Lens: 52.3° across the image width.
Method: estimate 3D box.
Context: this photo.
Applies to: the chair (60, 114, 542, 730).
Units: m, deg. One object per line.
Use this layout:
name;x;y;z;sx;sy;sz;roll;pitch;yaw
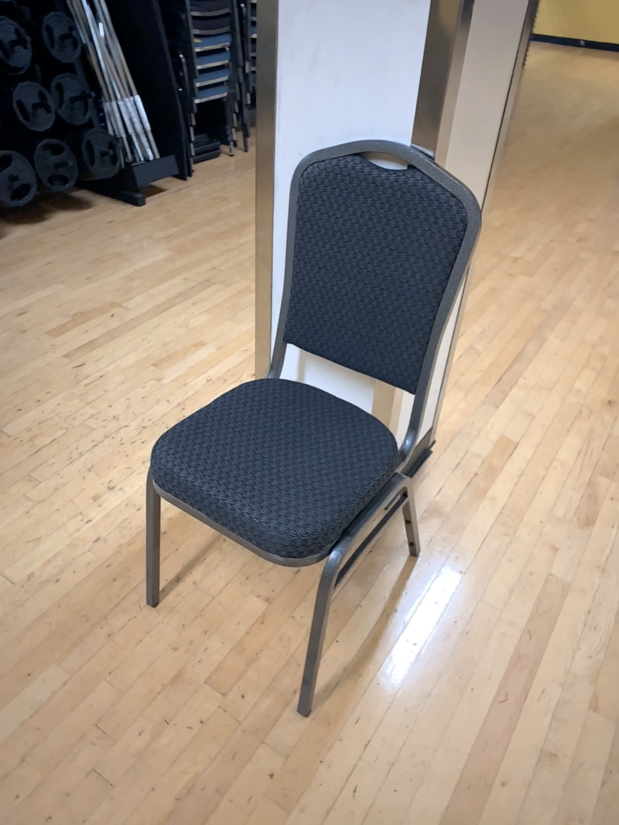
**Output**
chair;-0.003;0.012;1.196;0.465;0.908;0.566;25;42;25
